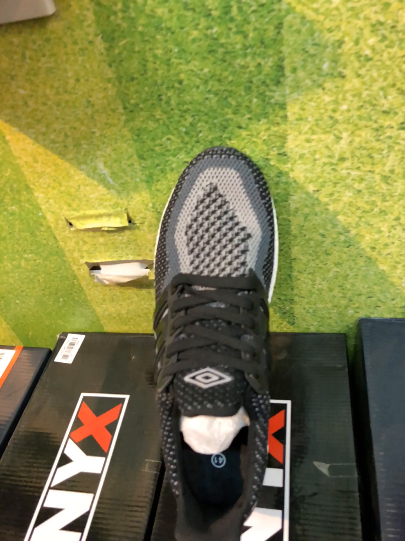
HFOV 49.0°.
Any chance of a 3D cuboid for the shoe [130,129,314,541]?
[{"bbox_3d":[0.017,0.045,0.348,0.110,0.122,0.269,2,85,2],"label":"shoe"}]
